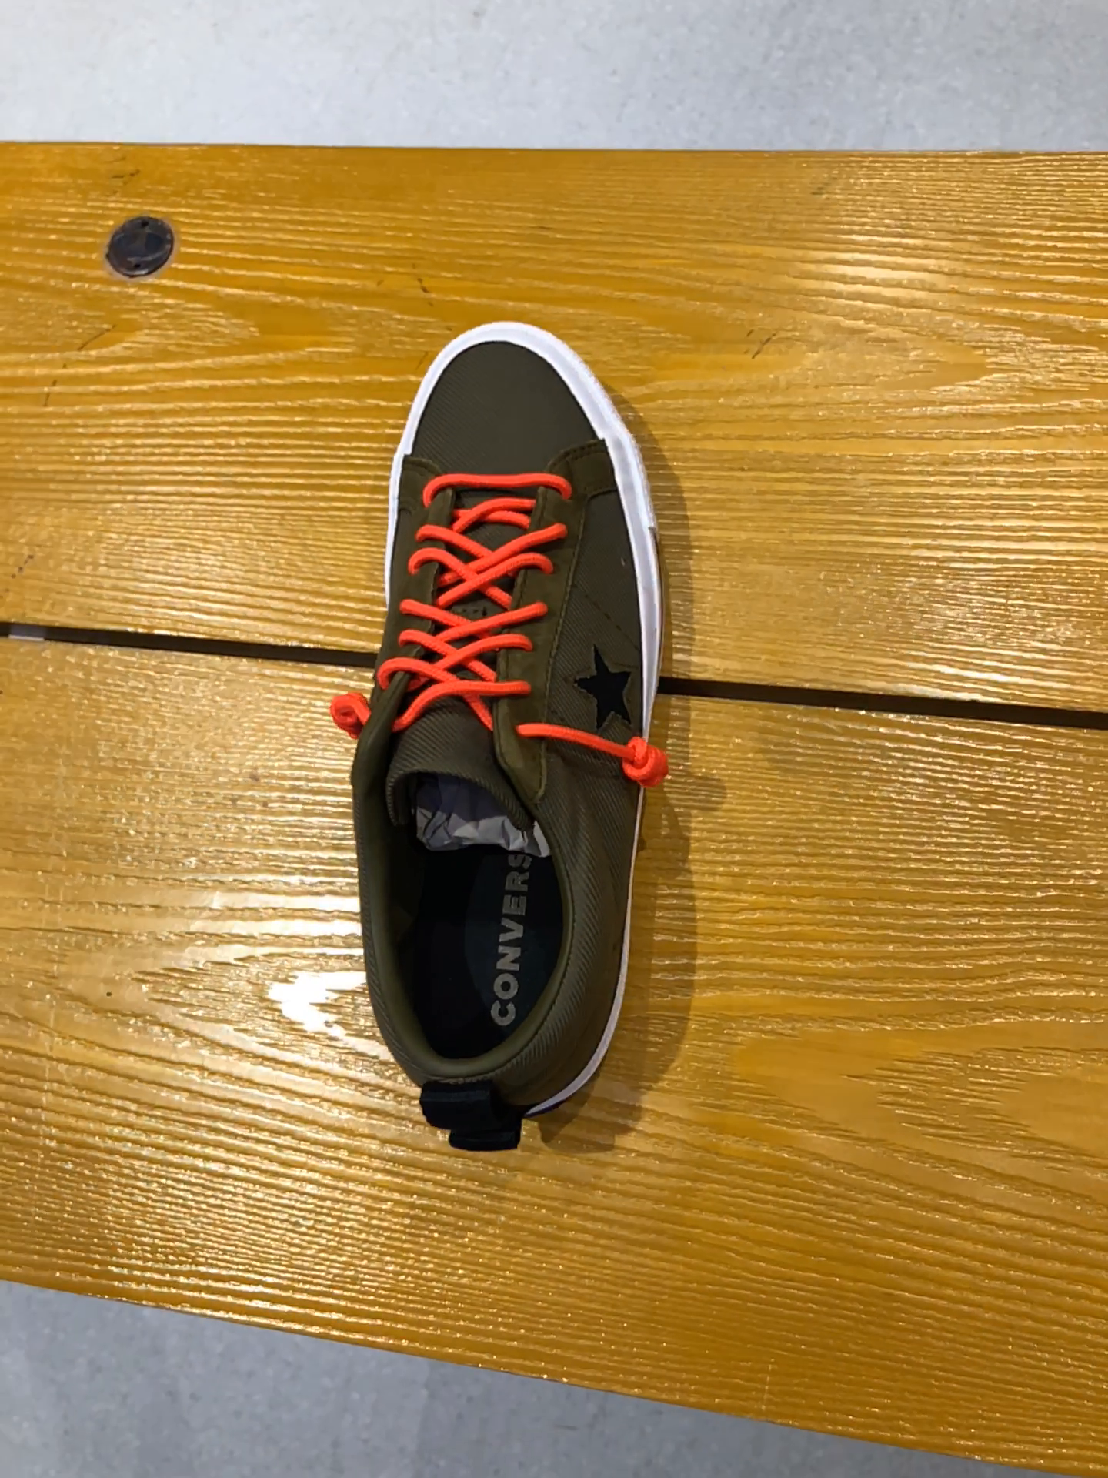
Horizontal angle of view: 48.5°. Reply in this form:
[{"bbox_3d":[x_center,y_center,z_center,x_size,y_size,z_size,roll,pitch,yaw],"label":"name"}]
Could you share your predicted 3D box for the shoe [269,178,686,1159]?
[{"bbox_3d":[-0.016,-0.021,0.402,0.105,0.097,0.293,-2,75,9],"label":"shoe"}]
